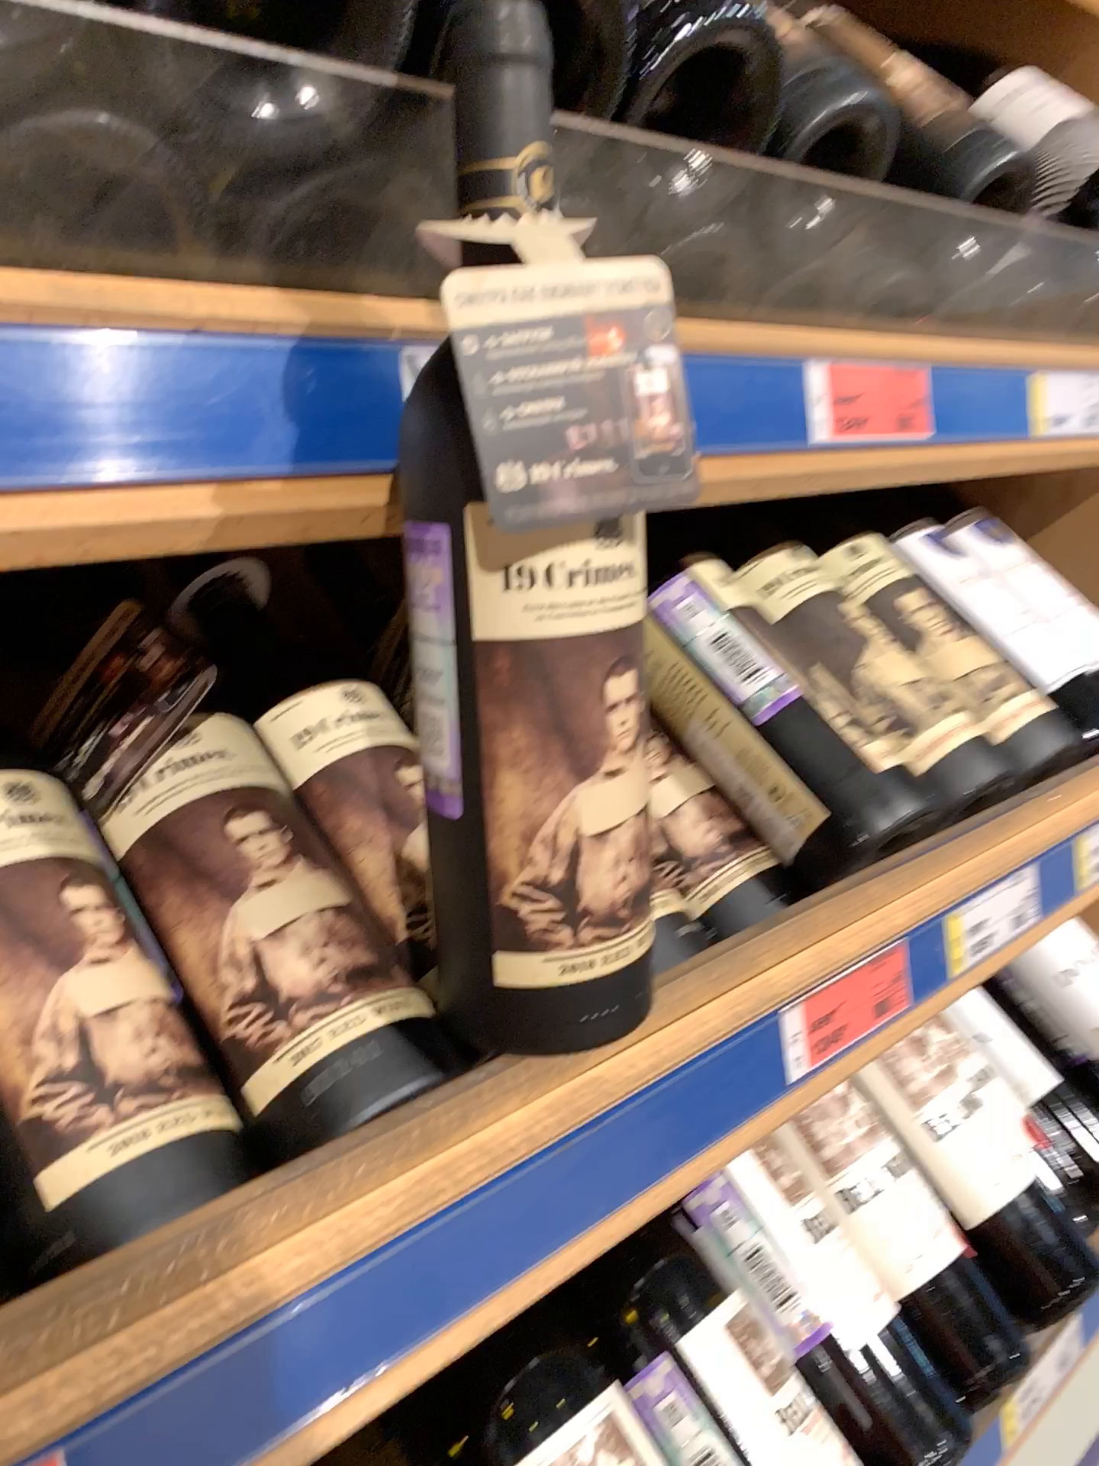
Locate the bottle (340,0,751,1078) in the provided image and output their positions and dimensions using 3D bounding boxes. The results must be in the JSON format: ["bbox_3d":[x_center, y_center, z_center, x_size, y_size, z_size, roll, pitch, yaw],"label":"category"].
[{"bbox_3d":[0.000,-0.057,0.362,0.081,0.300,0.087,0,14,0],"label":"bottle"}]
